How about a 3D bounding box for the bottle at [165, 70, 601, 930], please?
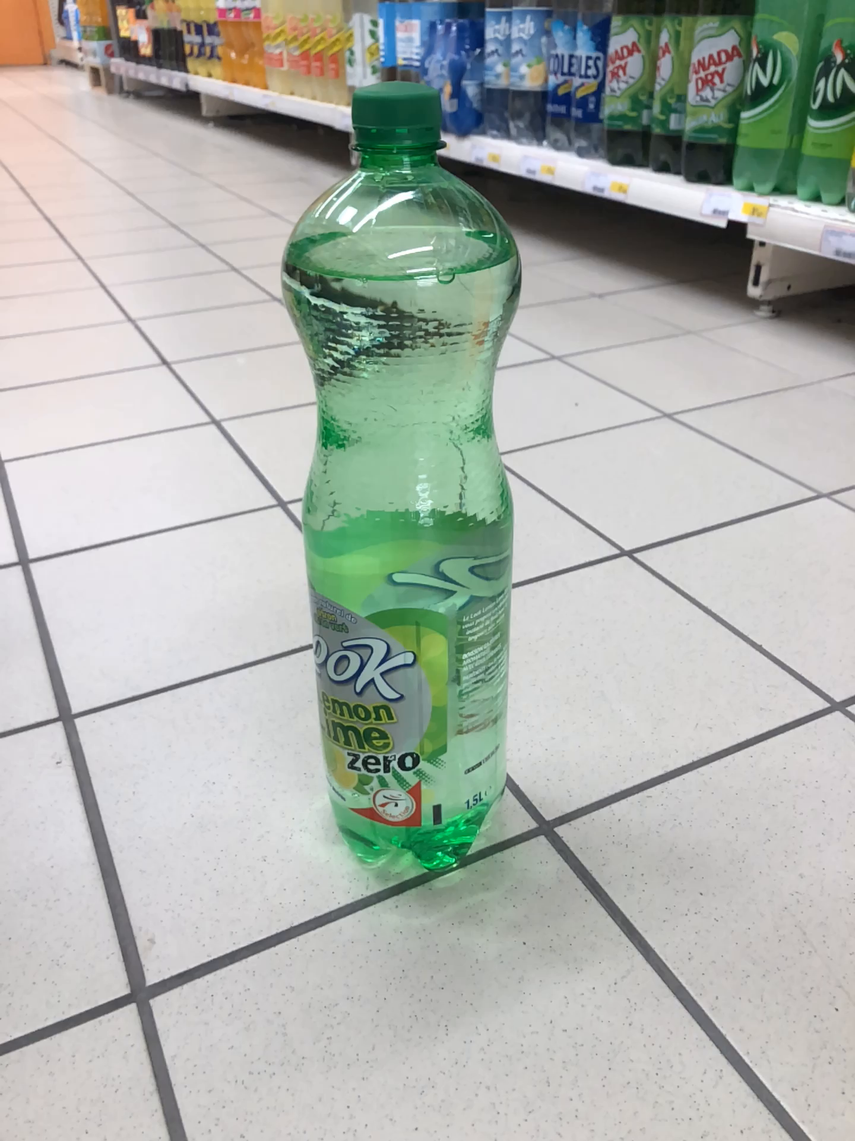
[{"bbox_3d":[-0.012,-0.021,0.384,0.100,0.318,0.101,-1,29,0],"label":"bottle"}]
